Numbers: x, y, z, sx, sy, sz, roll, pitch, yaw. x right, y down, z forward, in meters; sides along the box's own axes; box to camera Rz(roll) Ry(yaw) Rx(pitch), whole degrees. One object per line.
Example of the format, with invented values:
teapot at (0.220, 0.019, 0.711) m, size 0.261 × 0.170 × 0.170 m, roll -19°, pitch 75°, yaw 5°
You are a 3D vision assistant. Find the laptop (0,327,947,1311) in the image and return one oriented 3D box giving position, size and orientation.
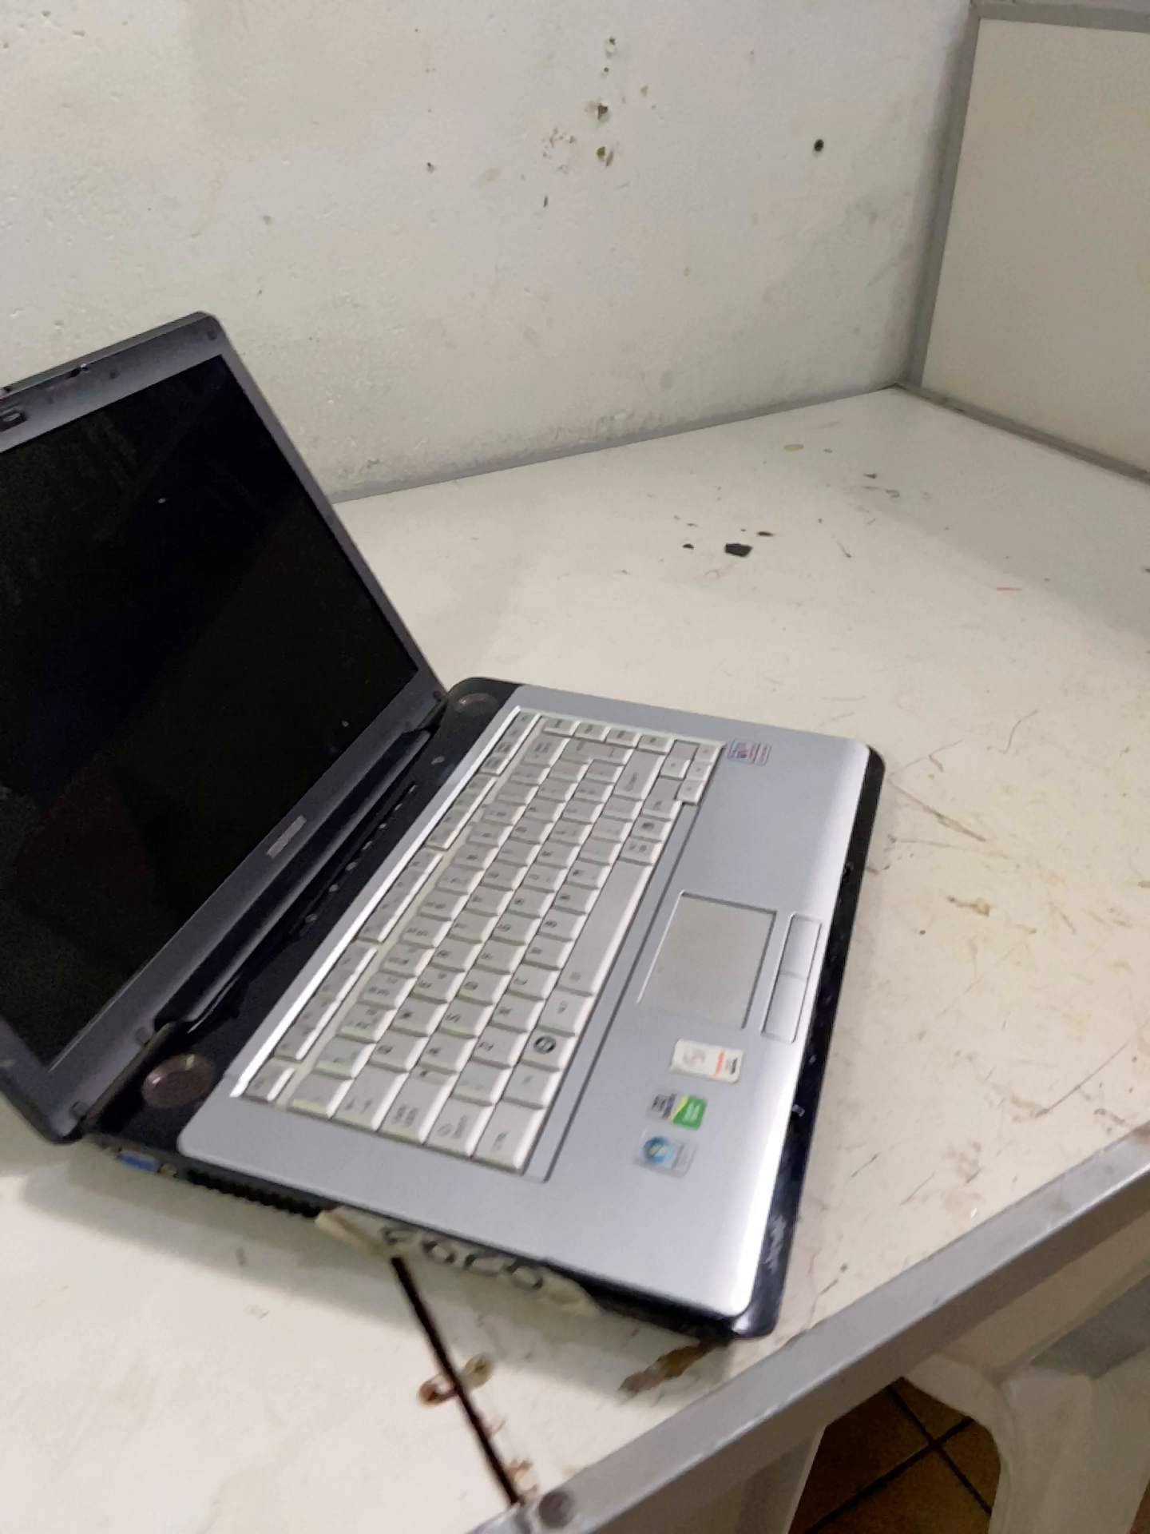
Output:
laptop at (-0.070, -0.033, 0.520) m, size 0.393 × 0.200 × 0.353 m, roll 11°, pitch 35°, yaw 15°
